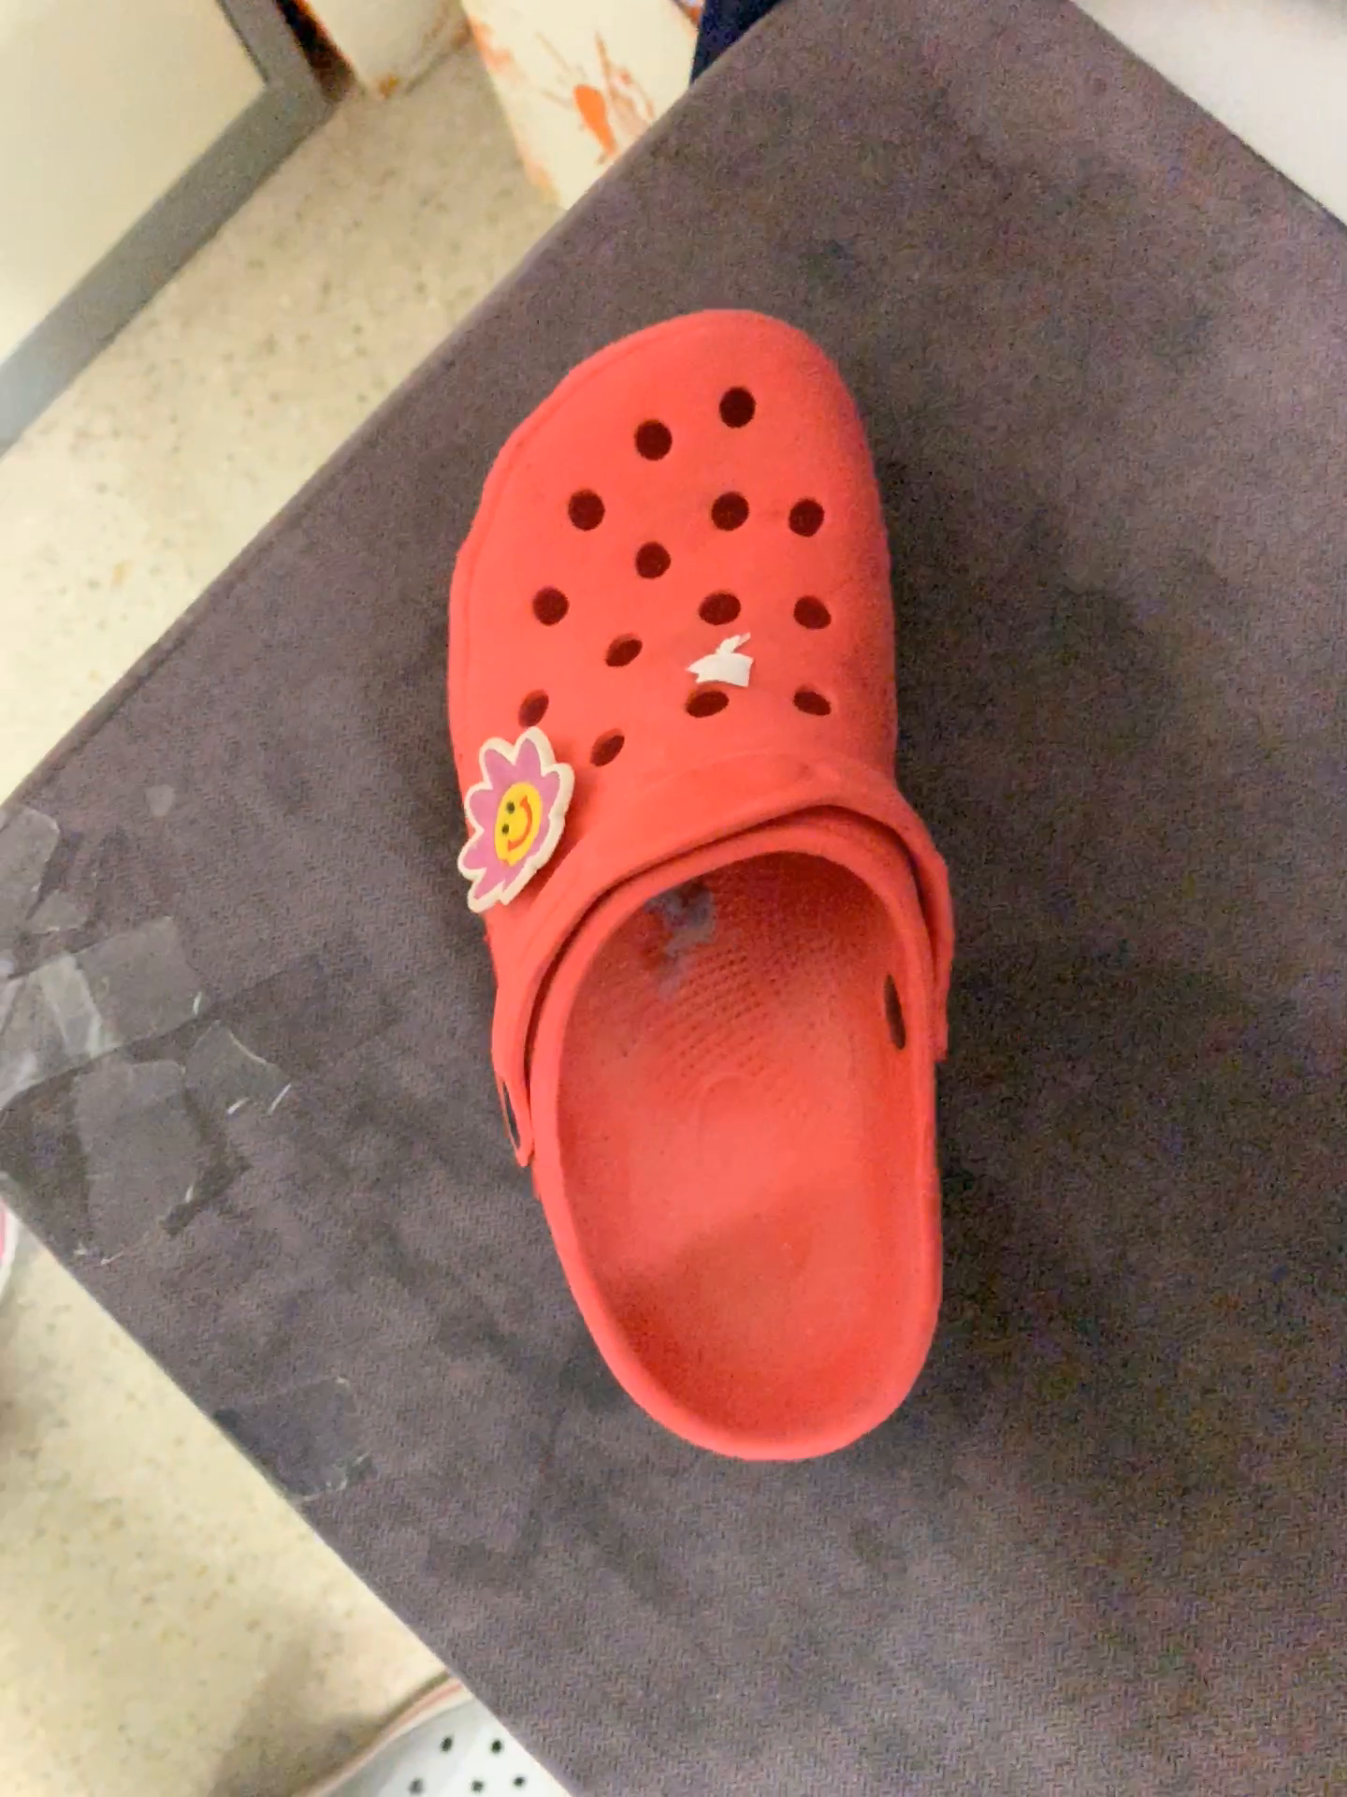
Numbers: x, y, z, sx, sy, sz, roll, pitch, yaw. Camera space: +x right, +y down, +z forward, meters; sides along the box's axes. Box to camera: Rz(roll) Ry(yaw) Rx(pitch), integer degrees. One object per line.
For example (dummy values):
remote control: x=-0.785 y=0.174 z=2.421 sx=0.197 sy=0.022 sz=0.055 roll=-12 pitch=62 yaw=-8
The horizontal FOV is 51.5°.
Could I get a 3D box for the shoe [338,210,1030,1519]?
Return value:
shoe: x=0.003 y=-0.005 z=0.272 sx=0.092 sy=0.081 sz=0.208 roll=-7 pitch=86 yaw=5
